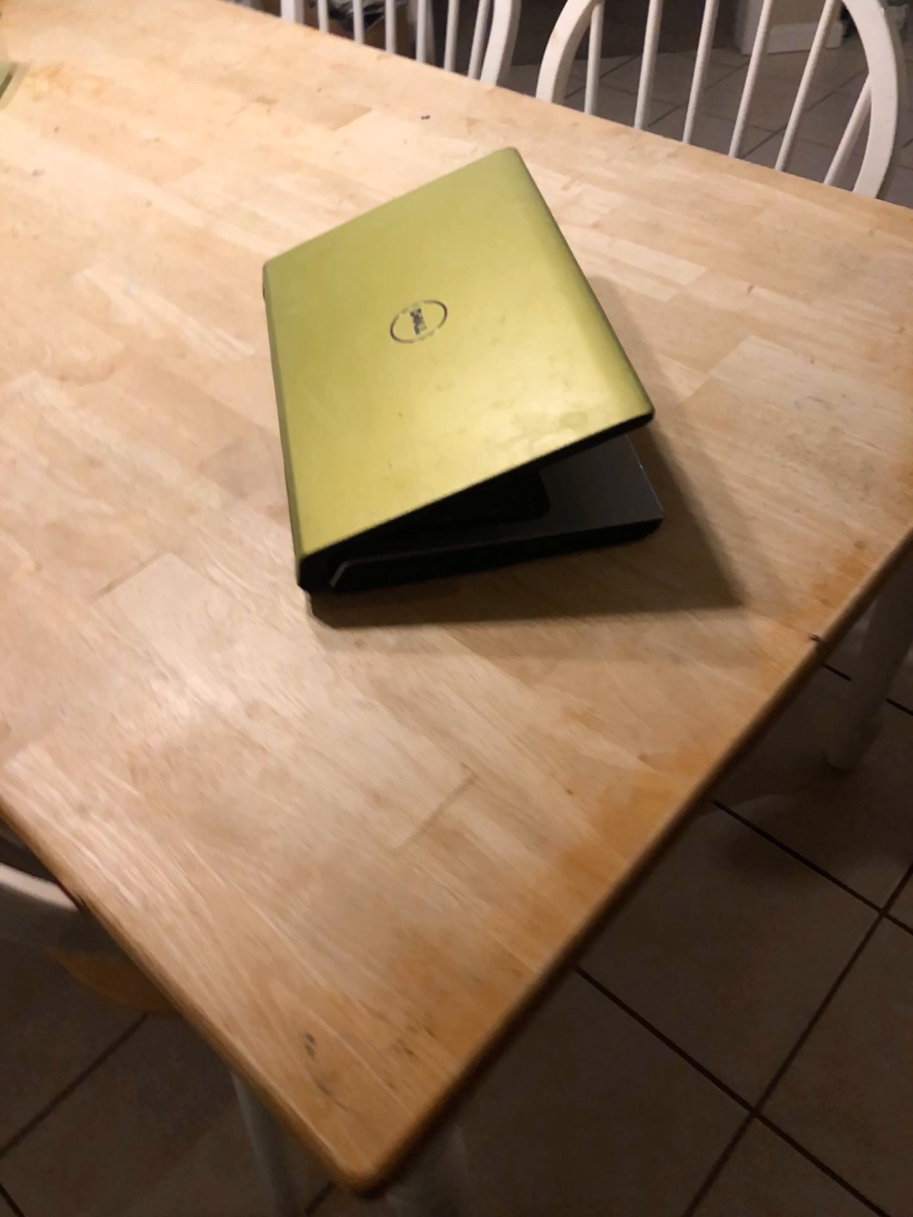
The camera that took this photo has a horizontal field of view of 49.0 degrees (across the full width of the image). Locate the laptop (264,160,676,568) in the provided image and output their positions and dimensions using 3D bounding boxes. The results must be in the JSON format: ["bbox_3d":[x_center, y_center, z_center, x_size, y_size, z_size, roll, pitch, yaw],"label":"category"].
[{"bbox_3d":[-0.010,-0.200,0.732,0.227,0.077,0.360,-9,48,-6],"label":"laptop"}]
